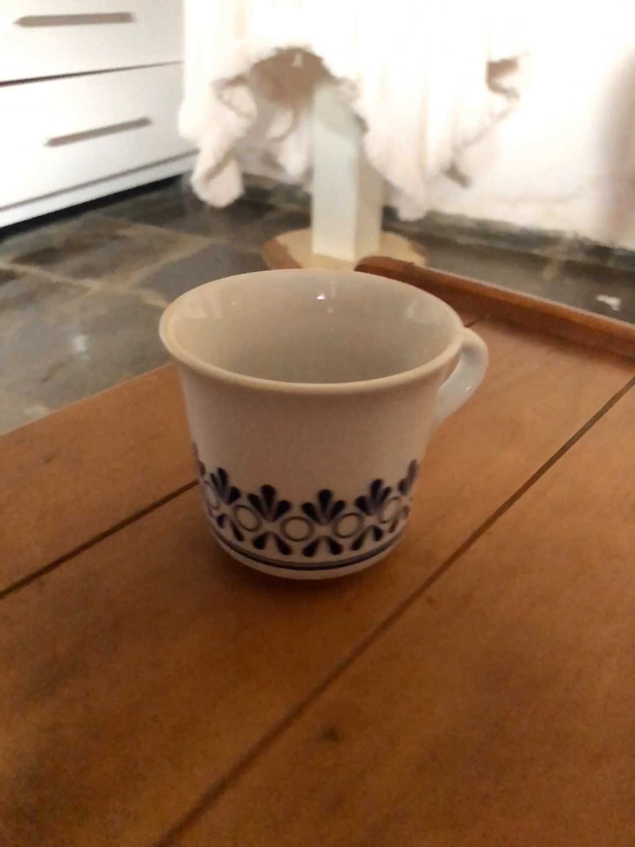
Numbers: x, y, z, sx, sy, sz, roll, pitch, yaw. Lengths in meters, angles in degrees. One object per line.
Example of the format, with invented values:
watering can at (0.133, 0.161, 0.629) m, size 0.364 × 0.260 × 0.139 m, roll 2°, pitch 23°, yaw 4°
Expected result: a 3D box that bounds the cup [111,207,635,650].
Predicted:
cup at (0.014, -0.012, 0.232) m, size 0.130 × 0.079 × 0.101 m, roll -14°, pitch 35°, yaw -24°
